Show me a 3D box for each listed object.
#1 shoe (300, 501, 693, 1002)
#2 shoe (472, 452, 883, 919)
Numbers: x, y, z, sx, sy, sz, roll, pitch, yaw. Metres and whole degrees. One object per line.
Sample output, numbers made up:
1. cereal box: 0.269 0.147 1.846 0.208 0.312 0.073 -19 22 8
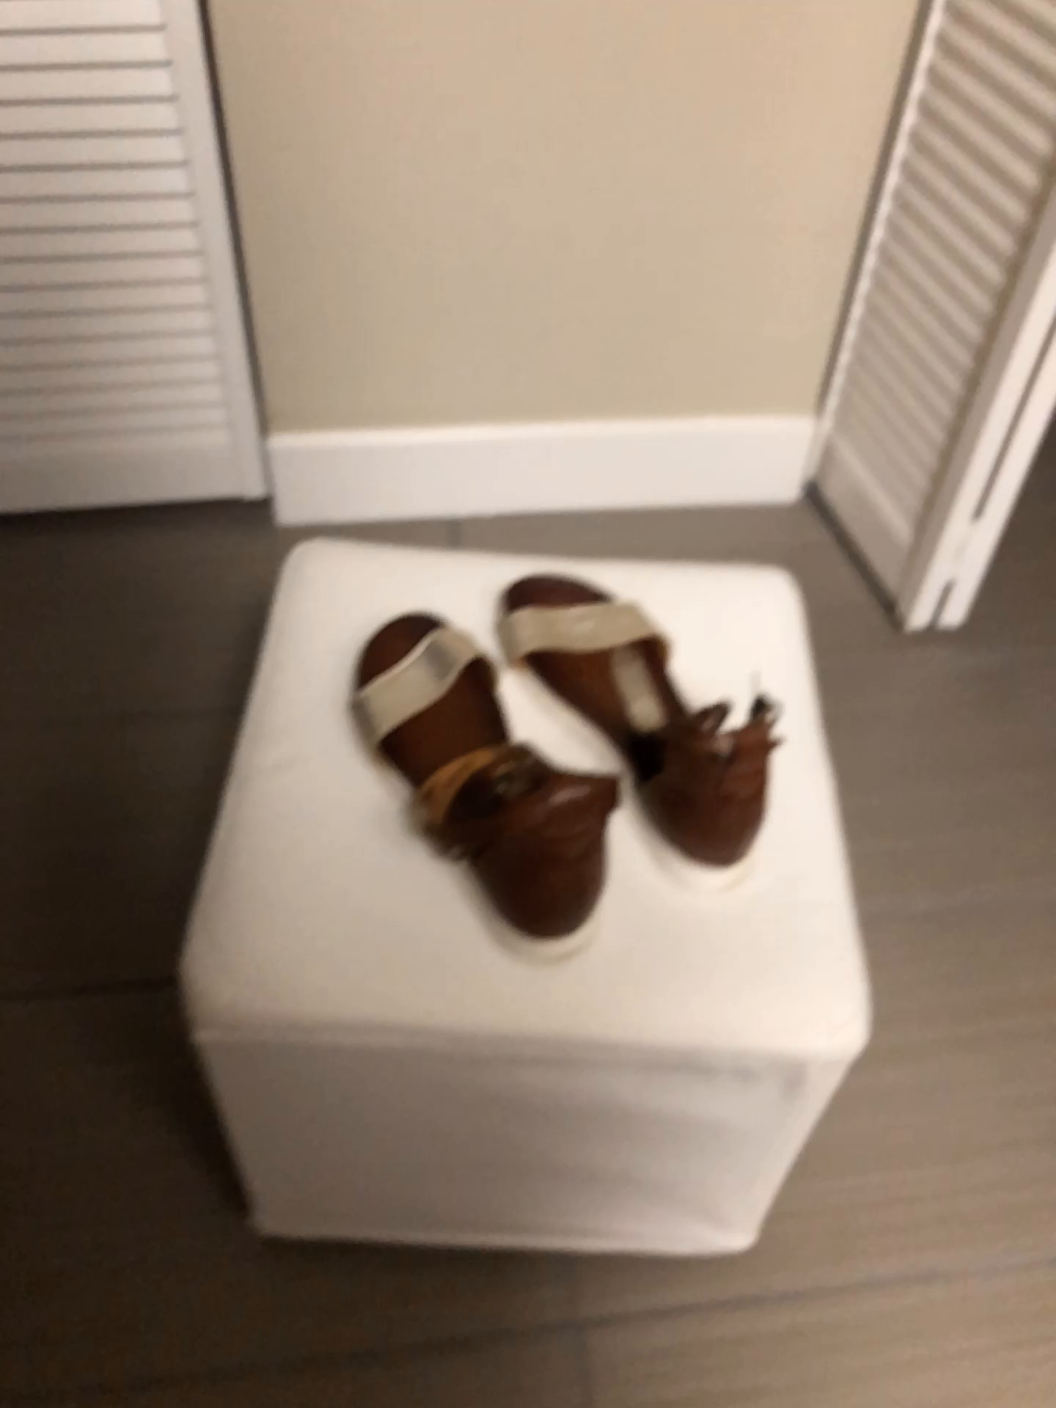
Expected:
1. shoe: -0.029 0.013 0.653 0.110 0.090 0.261 -17 51 -18
2. shoe: 0.070 -0.023 0.684 0.110 0.090 0.261 -17 51 -18
